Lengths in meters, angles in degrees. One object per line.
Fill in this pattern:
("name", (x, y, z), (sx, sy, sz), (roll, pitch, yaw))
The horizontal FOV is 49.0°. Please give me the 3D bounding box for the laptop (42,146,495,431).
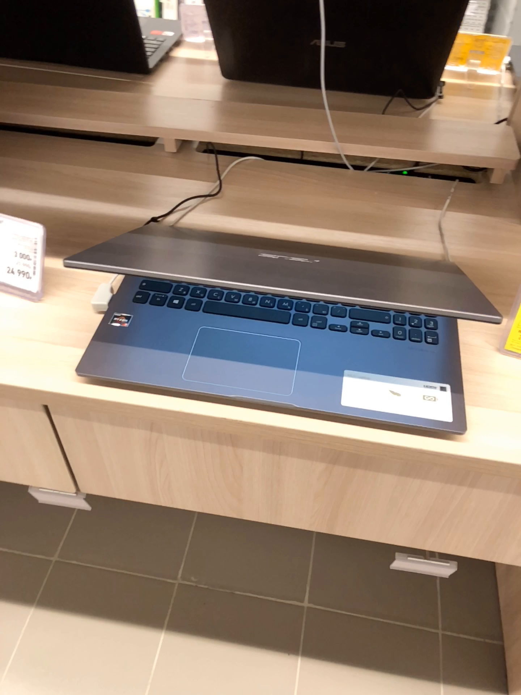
("laptop", (0.017, -0.072, 0.555), (0.349, 0.111, 0.233), (8, 46, 7))
